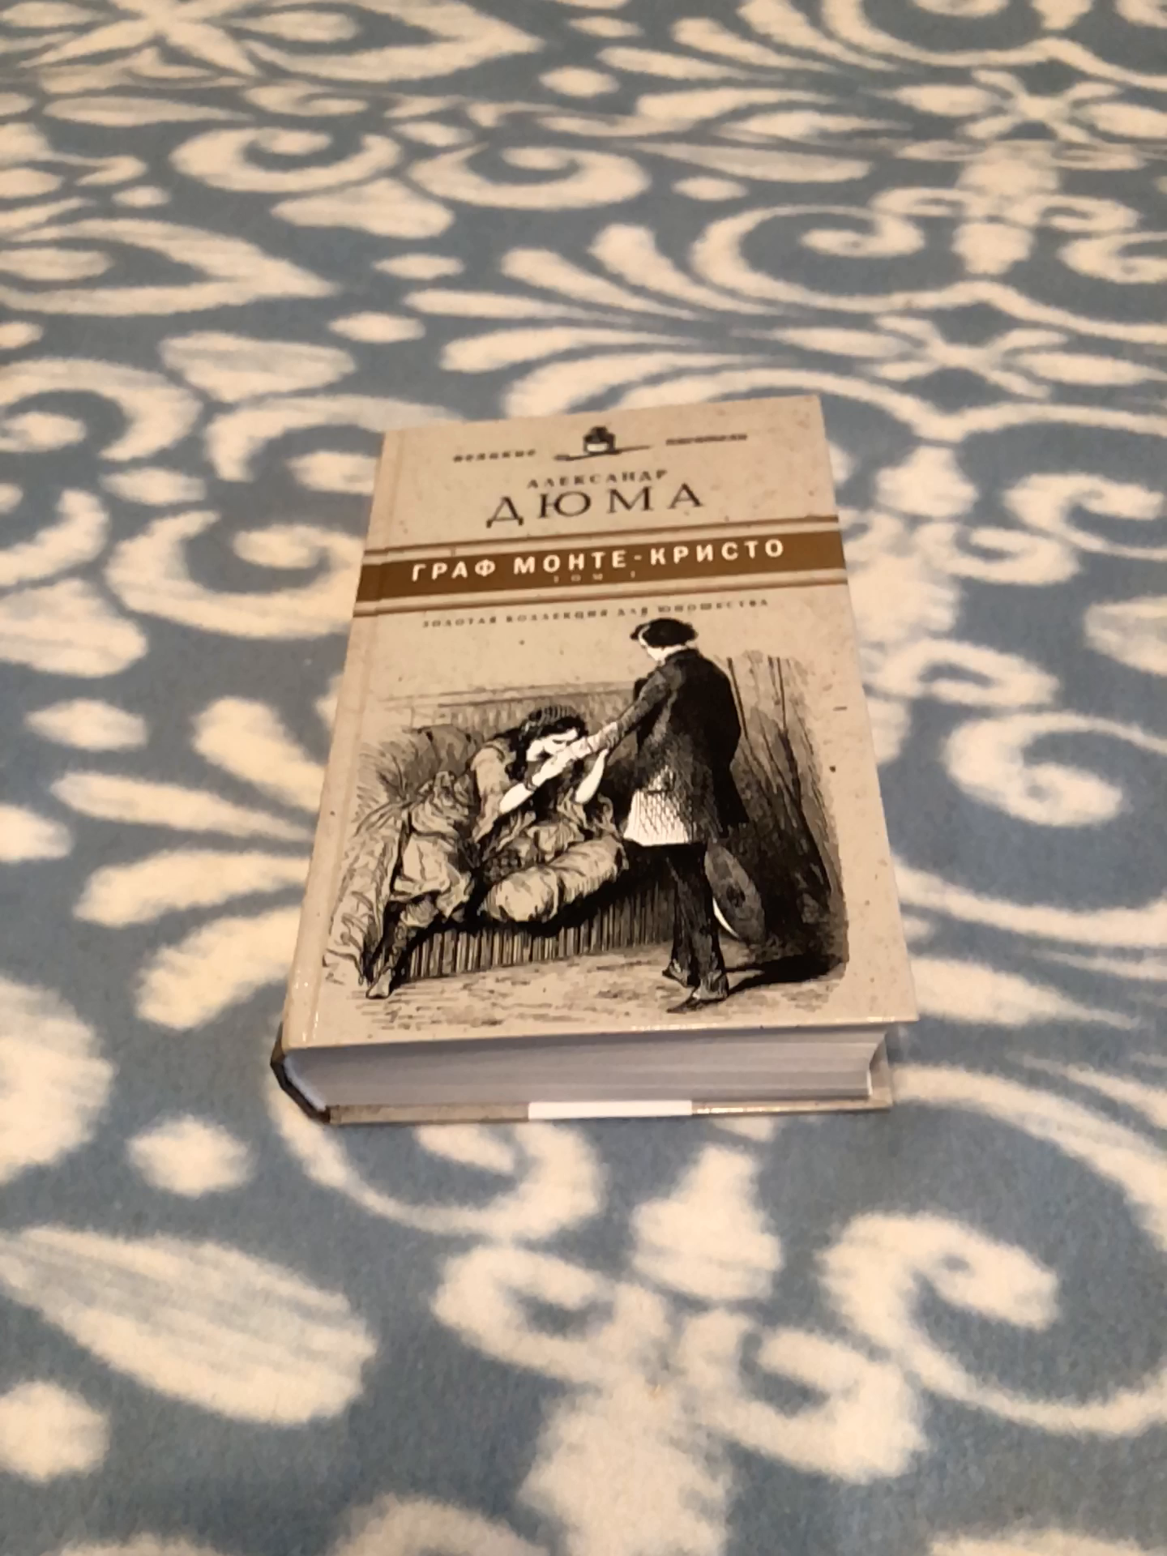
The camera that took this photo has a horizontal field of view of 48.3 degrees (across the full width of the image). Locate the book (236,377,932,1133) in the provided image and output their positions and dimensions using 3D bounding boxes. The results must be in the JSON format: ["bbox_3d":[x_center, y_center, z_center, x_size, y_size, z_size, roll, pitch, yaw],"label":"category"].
[{"bbox_3d":[0.001,-0.019,0.338,0.138,0.040,0.213,-3,51,5],"label":"book"}]
